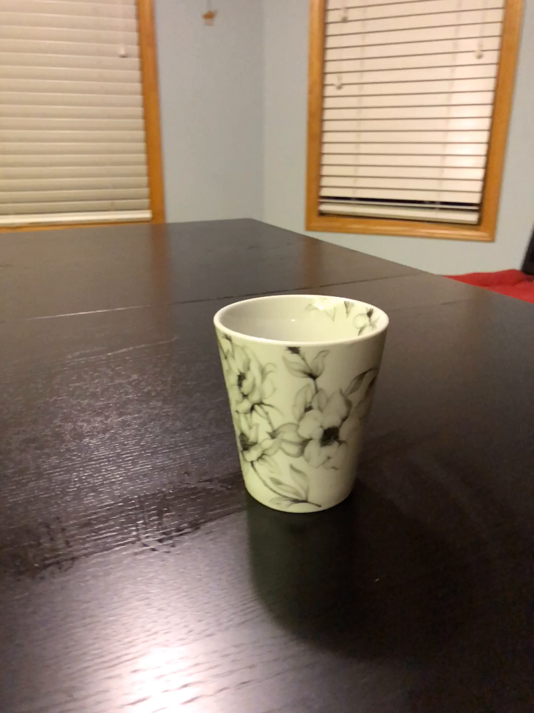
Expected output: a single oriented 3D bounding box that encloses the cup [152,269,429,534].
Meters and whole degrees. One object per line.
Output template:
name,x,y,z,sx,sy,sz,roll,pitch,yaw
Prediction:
cup,0.010,0.013,0.350,0.100,0.100,0.120,-16,25,-39
